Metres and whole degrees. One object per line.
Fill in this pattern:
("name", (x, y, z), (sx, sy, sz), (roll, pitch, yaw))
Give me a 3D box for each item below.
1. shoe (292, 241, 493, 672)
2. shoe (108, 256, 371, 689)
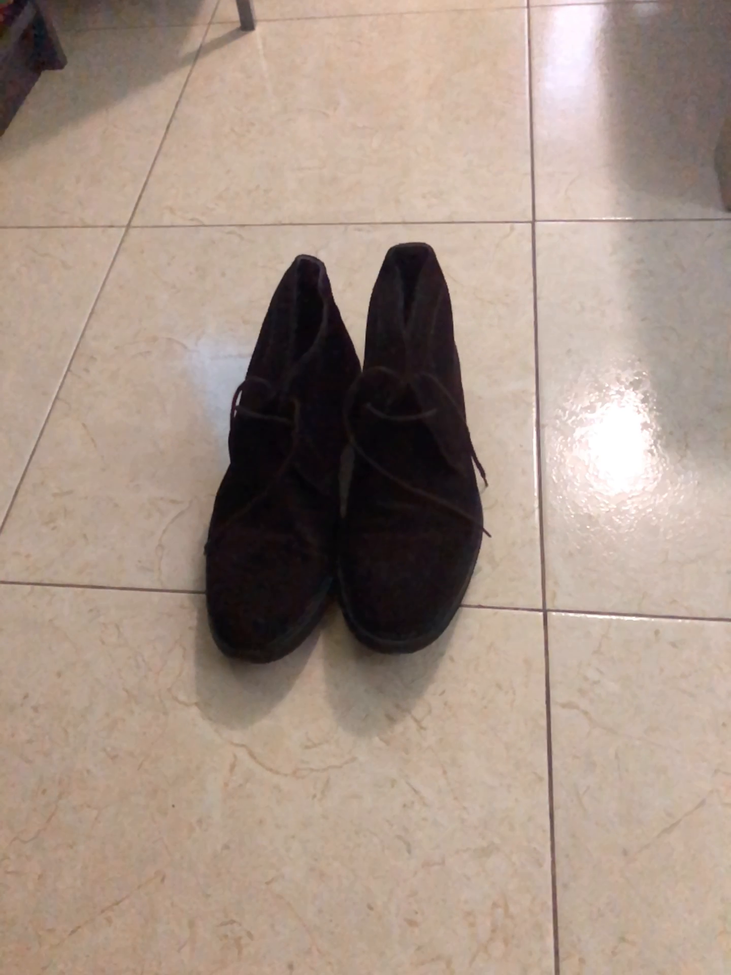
("shoe", (0.035, -0.033, 0.615), (0.110, 0.140, 0.301), (2, 55, 8))
("shoe", (-0.073, -0.022, 0.605), (0.110, 0.130, 0.301), (2, 55, 8))
